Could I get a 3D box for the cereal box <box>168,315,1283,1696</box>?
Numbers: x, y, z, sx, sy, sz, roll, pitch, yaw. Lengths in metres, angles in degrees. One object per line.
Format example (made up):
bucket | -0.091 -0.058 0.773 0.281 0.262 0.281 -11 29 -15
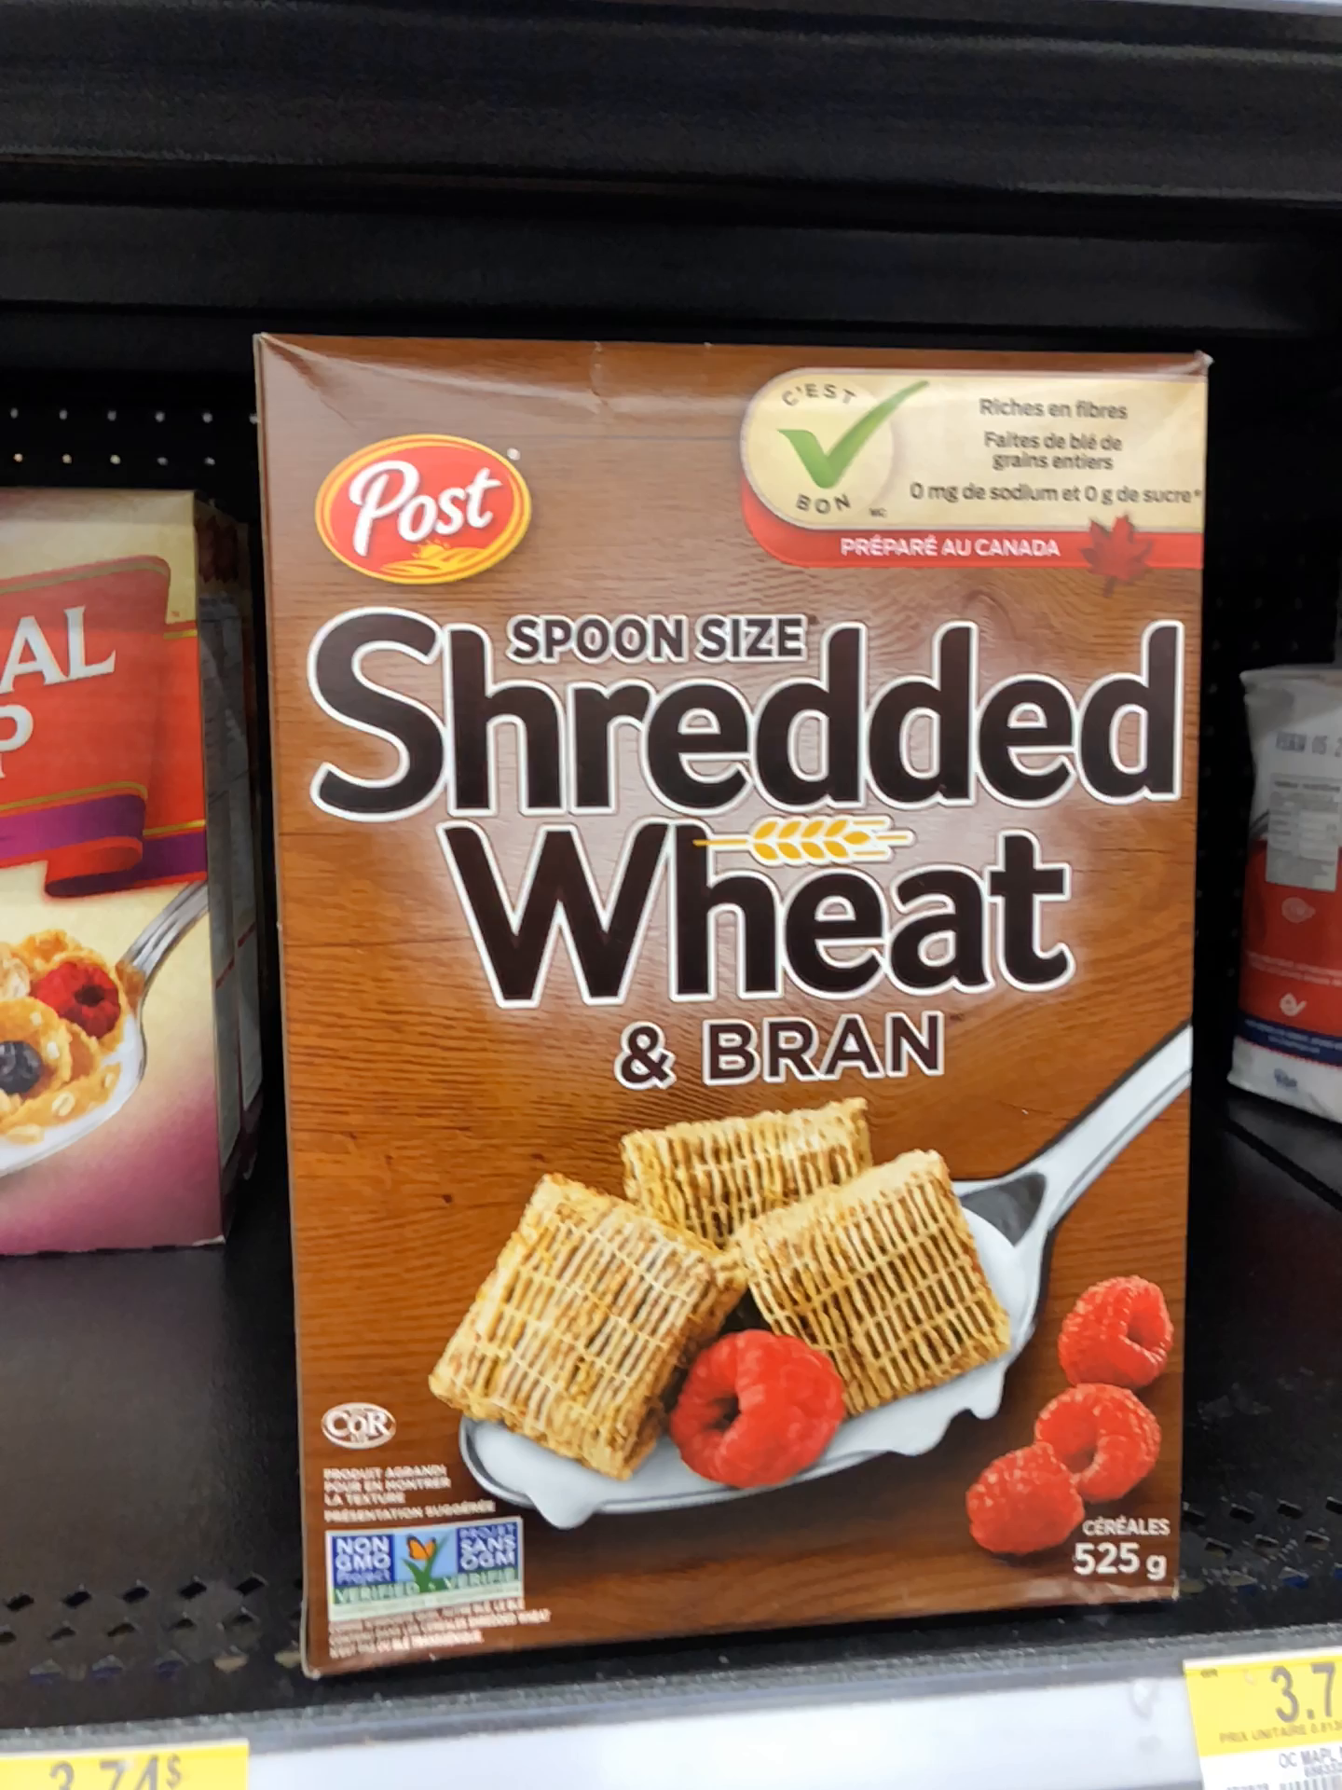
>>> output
cereal box | 0.012 0.021 0.320 0.210 0.259 0.060 -1 7 -8
